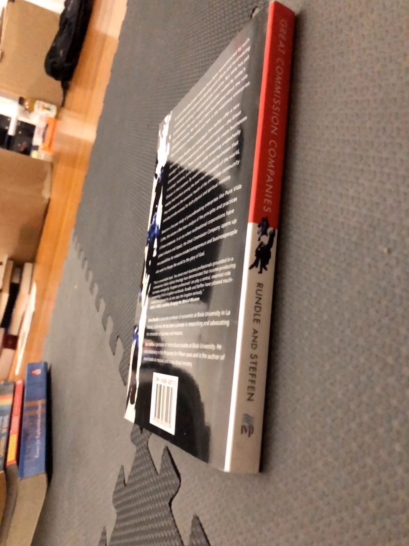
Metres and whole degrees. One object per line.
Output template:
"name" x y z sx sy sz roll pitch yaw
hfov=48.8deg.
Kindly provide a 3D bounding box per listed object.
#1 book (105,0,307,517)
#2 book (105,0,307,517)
"book" -0.008 -0.017 0.247 0.151 0.020 0.230 -18 62 63
"book" -0.008 -0.017 0.247 0.151 0.020 0.230 -18 62 63
